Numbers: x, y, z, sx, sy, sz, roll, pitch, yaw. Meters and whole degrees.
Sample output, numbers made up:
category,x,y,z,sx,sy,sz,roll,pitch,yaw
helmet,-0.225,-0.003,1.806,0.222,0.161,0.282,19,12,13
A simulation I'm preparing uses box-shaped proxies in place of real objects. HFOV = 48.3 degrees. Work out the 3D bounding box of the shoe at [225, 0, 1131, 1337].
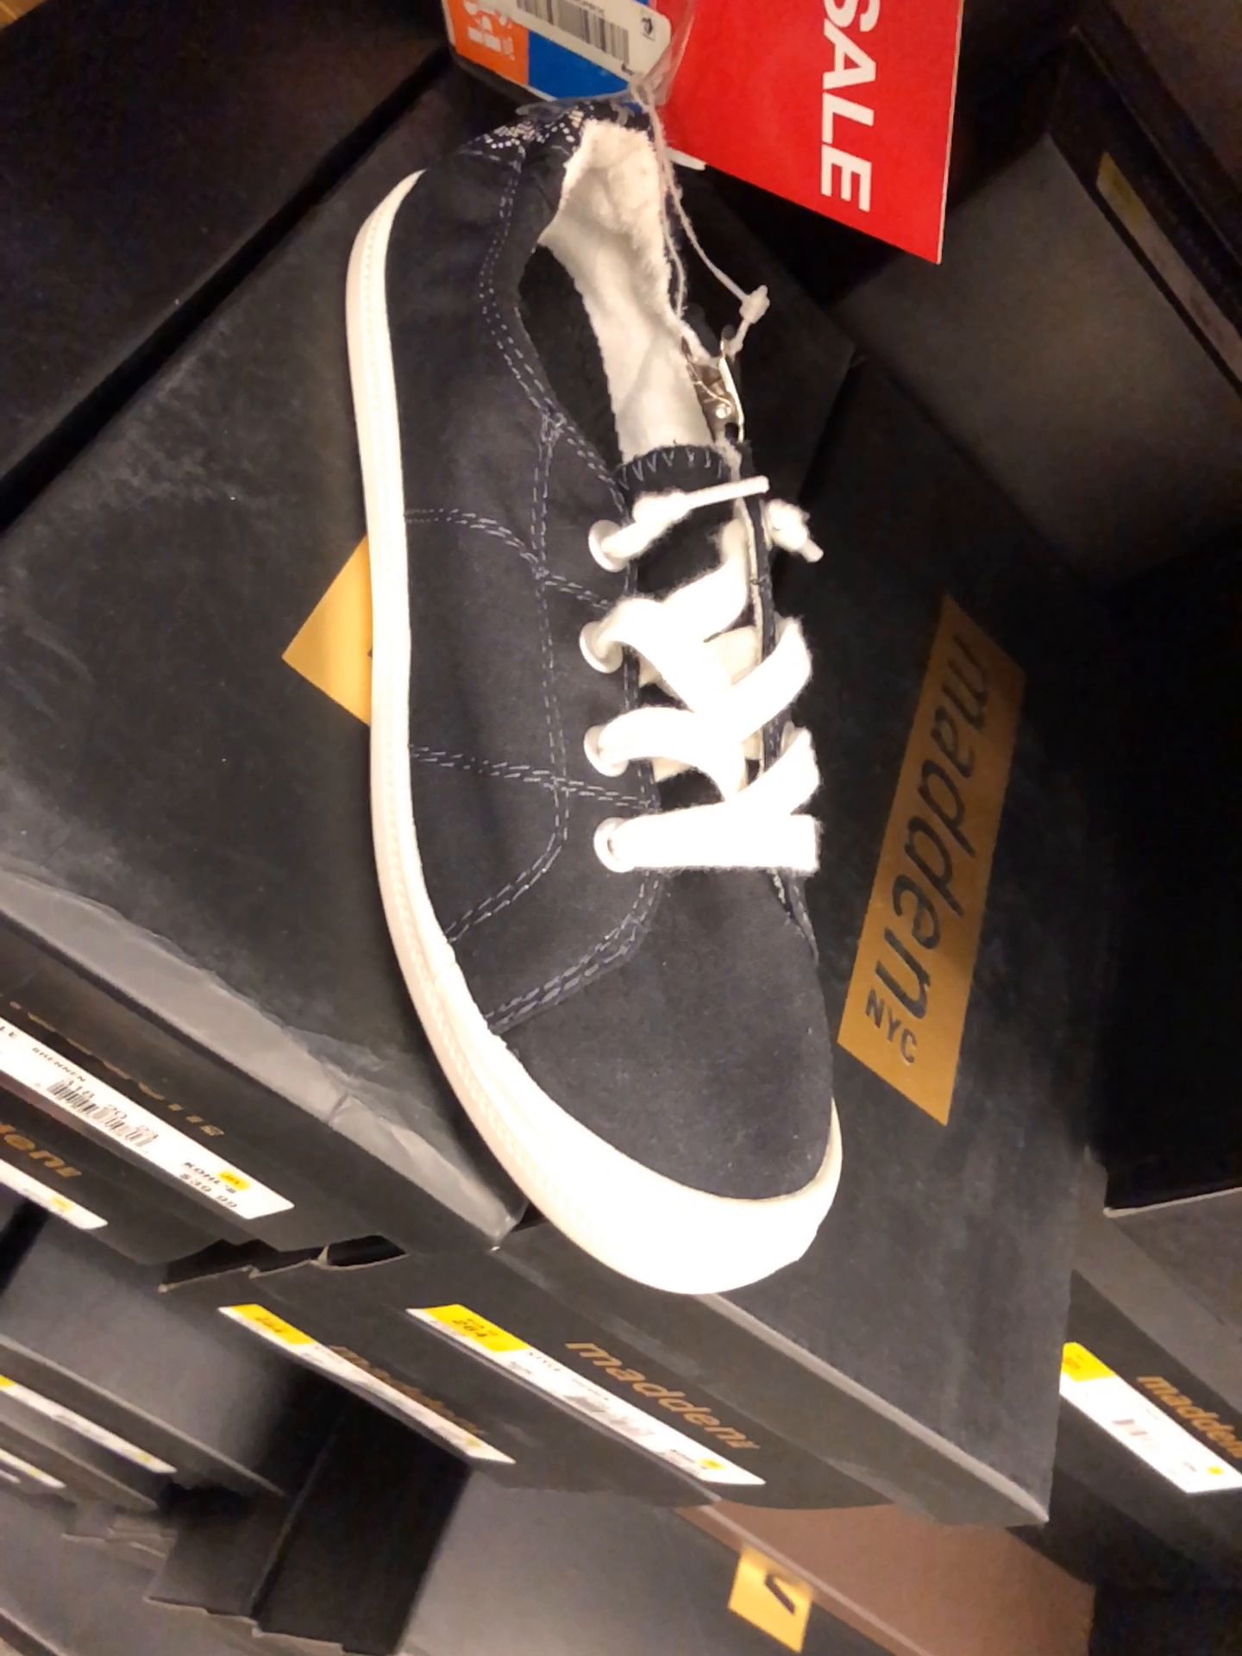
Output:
category,x,y,z,sx,sy,sz,roll,pitch,yaw
shoe,0.001,-0.040,0.257,0.081,0.081,0.234,-1,71,-43
